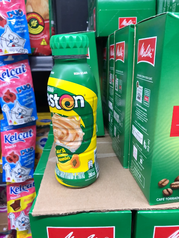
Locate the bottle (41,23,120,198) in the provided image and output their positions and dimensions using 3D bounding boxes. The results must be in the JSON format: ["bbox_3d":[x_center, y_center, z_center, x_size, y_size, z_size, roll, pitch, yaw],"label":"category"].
[{"bbox_3d":[-0.009,-0.010,0.239,0.060,0.179,0.060,-1,17,0],"label":"bottle"}]
